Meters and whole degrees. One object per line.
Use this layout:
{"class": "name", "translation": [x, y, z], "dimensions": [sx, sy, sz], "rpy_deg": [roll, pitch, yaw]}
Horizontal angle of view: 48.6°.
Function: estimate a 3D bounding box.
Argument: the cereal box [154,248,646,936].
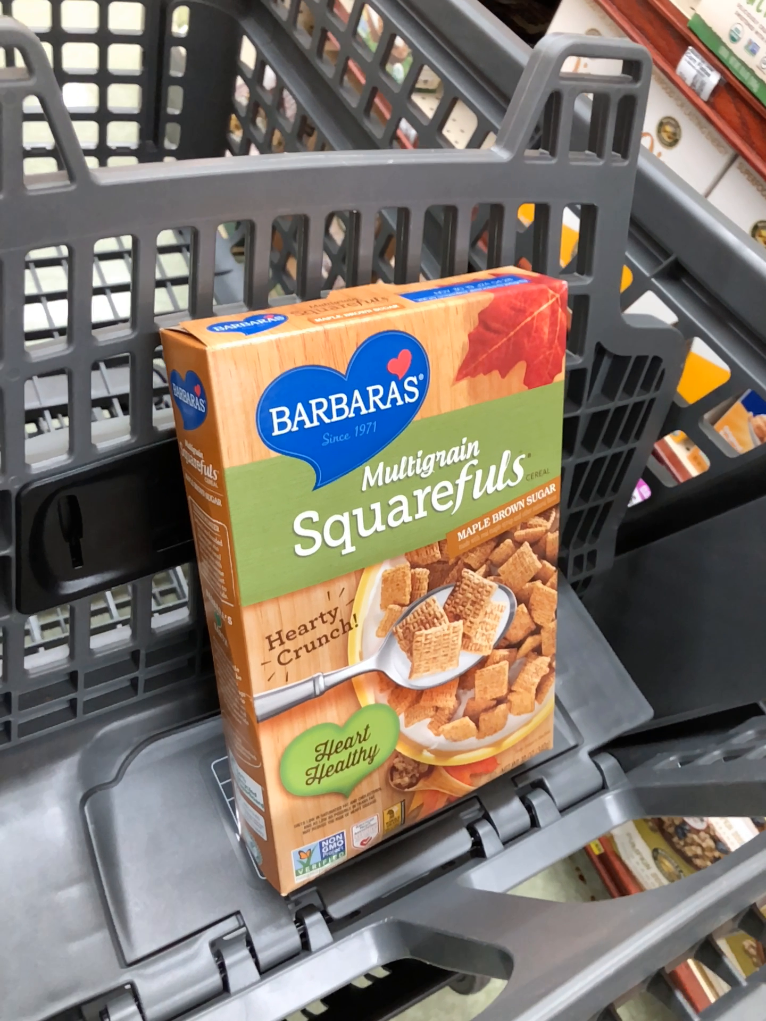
{"class": "cereal box", "translation": [0.020, 0.029, 0.381], "dimensions": [0.190, 0.260, 0.060], "rpy_deg": [-17, 27, -29]}
